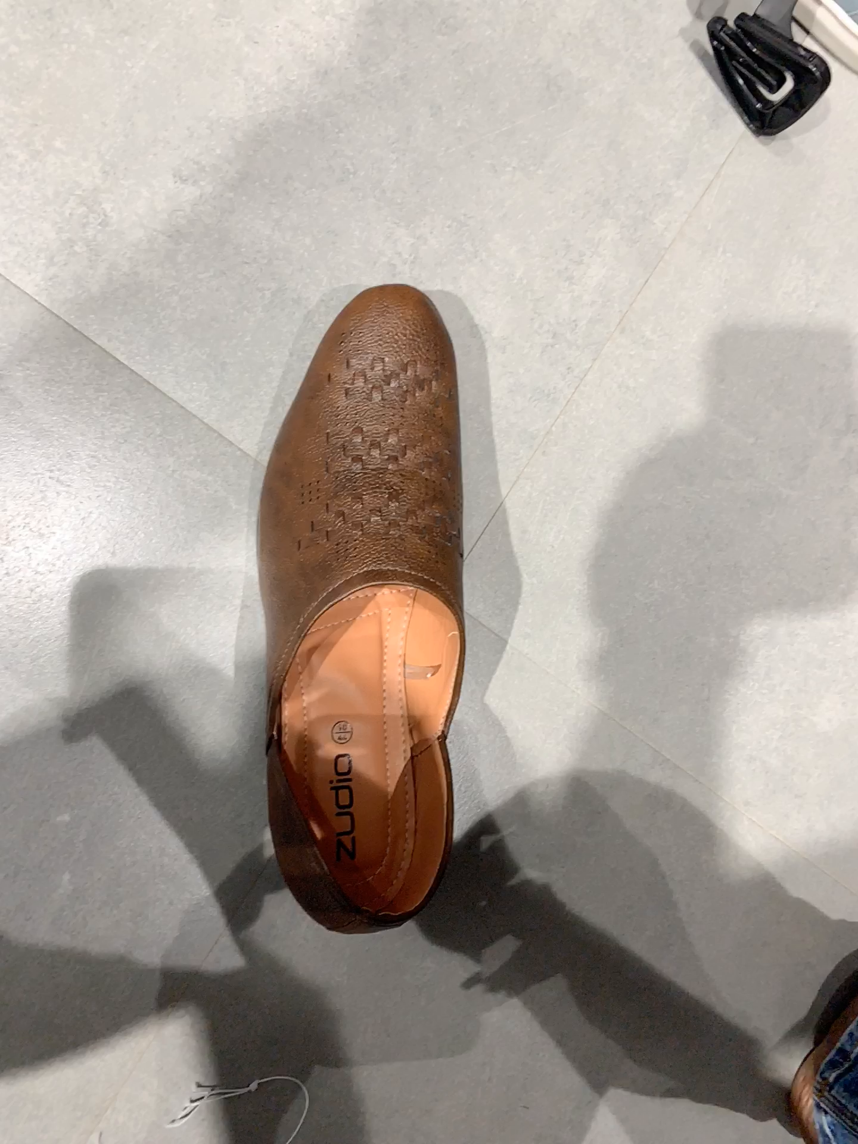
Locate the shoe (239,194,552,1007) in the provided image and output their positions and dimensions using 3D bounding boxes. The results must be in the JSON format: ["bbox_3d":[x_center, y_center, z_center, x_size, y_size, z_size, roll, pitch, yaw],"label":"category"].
[{"bbox_3d":[-0.021,0.011,0.381,0.100,0.110,0.290,2,89,-18],"label":"shoe"}]
